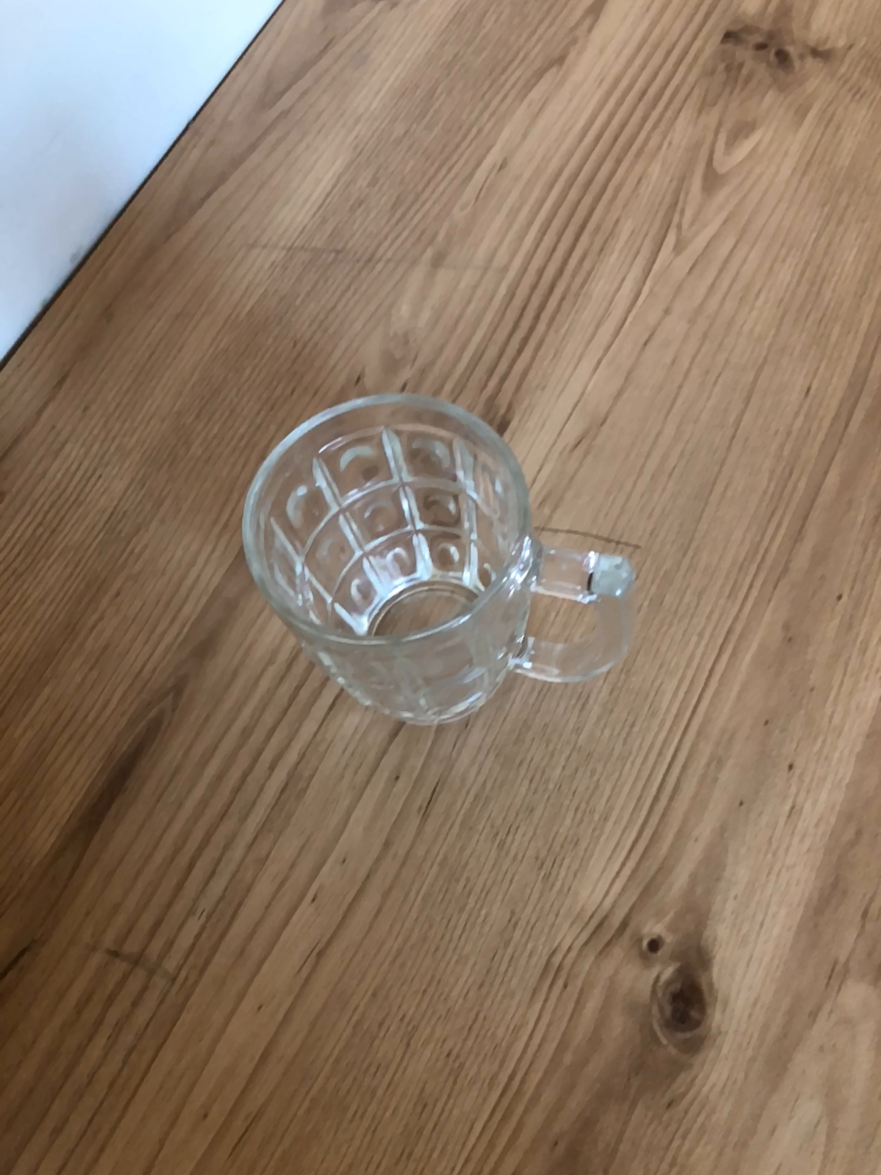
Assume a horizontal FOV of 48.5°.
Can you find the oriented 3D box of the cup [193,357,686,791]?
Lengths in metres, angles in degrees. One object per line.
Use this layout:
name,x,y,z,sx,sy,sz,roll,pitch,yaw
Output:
cup,0.007,0.000,0.318,0.119,0.102,0.088,11,70,12
